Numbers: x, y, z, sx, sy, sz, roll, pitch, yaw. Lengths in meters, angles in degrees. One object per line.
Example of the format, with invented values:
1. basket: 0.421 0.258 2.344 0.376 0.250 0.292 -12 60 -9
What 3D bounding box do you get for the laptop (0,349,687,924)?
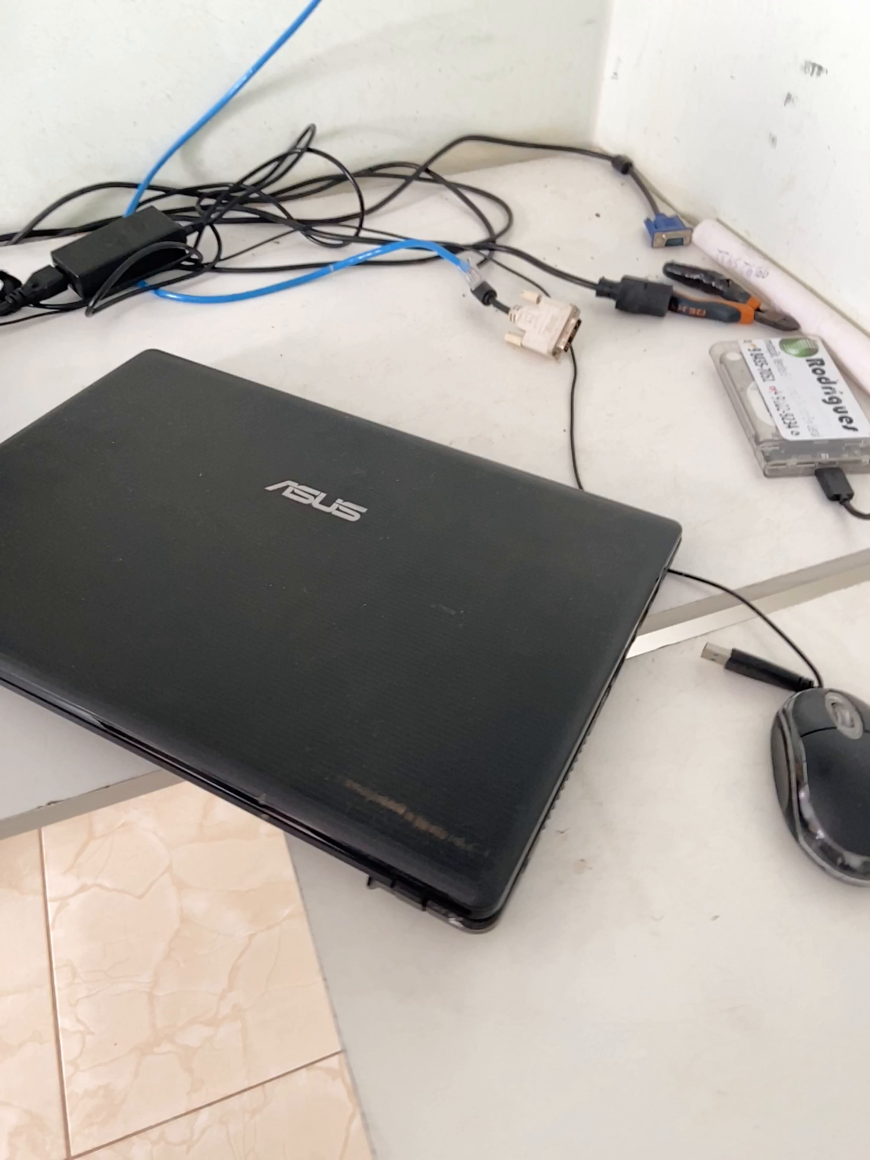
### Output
1. laptop: -0.087 -0.015 0.481 0.381 0.010 0.254 21 48 20
